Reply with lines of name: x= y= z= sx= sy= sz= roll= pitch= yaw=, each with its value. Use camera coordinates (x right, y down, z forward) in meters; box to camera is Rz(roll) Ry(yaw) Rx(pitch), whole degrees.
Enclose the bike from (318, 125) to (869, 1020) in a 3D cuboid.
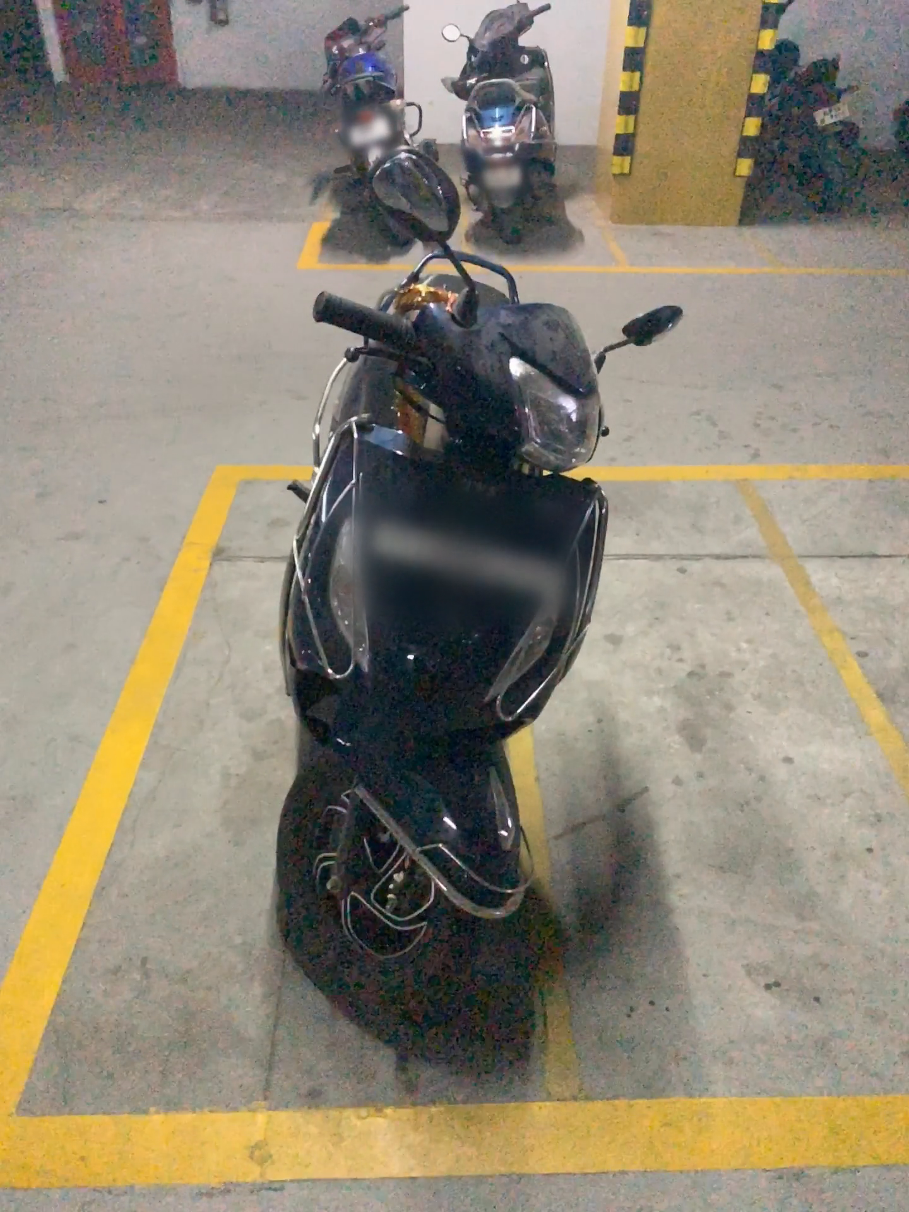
bike: x=0.082 y=-0.249 z=2.032 sx=0.664 sy=1.028 sz=1.702 roll=-2 pitch=40 yaw=-5
